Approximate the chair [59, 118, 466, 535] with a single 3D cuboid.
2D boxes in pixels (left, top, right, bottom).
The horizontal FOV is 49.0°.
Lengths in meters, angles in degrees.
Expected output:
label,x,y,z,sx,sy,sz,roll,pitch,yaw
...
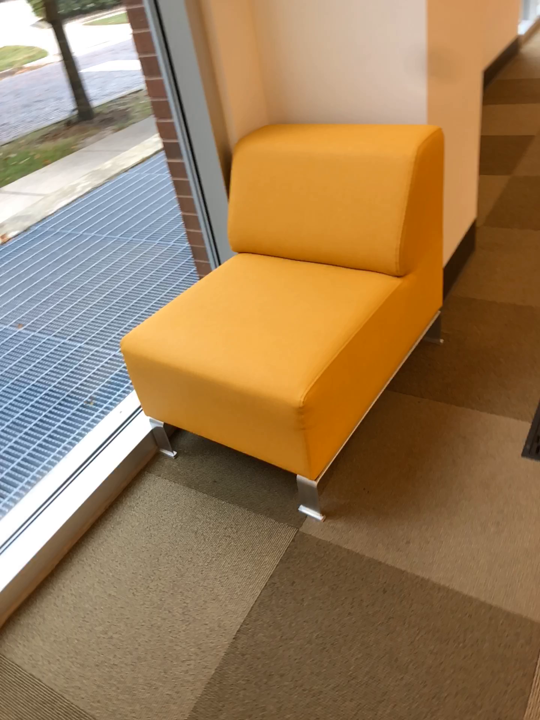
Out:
label,x,y,z,sx,sy,sz,roll,pitch,yaw
chair,0.082,-0.188,1.779,0.674,0.751,0.947,15,44,32
